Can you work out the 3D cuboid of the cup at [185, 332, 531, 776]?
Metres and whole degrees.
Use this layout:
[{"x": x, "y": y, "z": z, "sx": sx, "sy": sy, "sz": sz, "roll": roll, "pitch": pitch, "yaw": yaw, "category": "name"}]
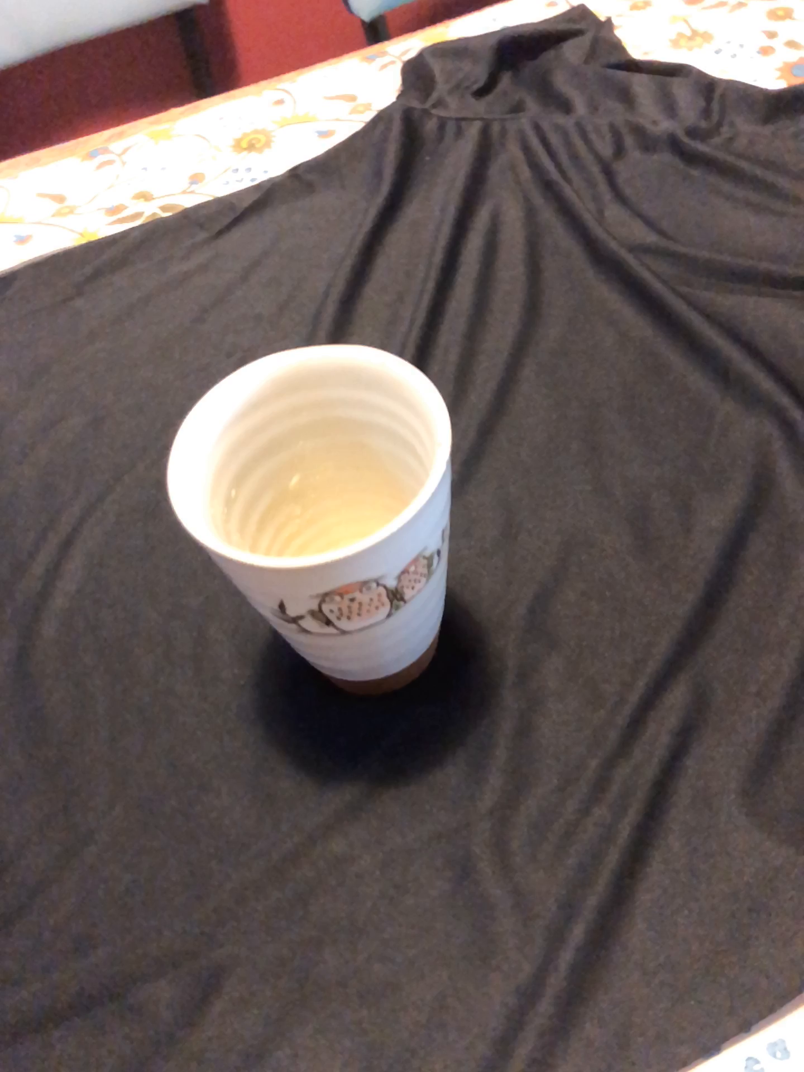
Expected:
[{"x": -0.008, "y": 0.010, "z": 0.281, "sx": 0.080, "sy": 0.100, "sz": 0.090, "roll": -8, "pitch": 53, "yaw": 6, "category": "cup"}]
